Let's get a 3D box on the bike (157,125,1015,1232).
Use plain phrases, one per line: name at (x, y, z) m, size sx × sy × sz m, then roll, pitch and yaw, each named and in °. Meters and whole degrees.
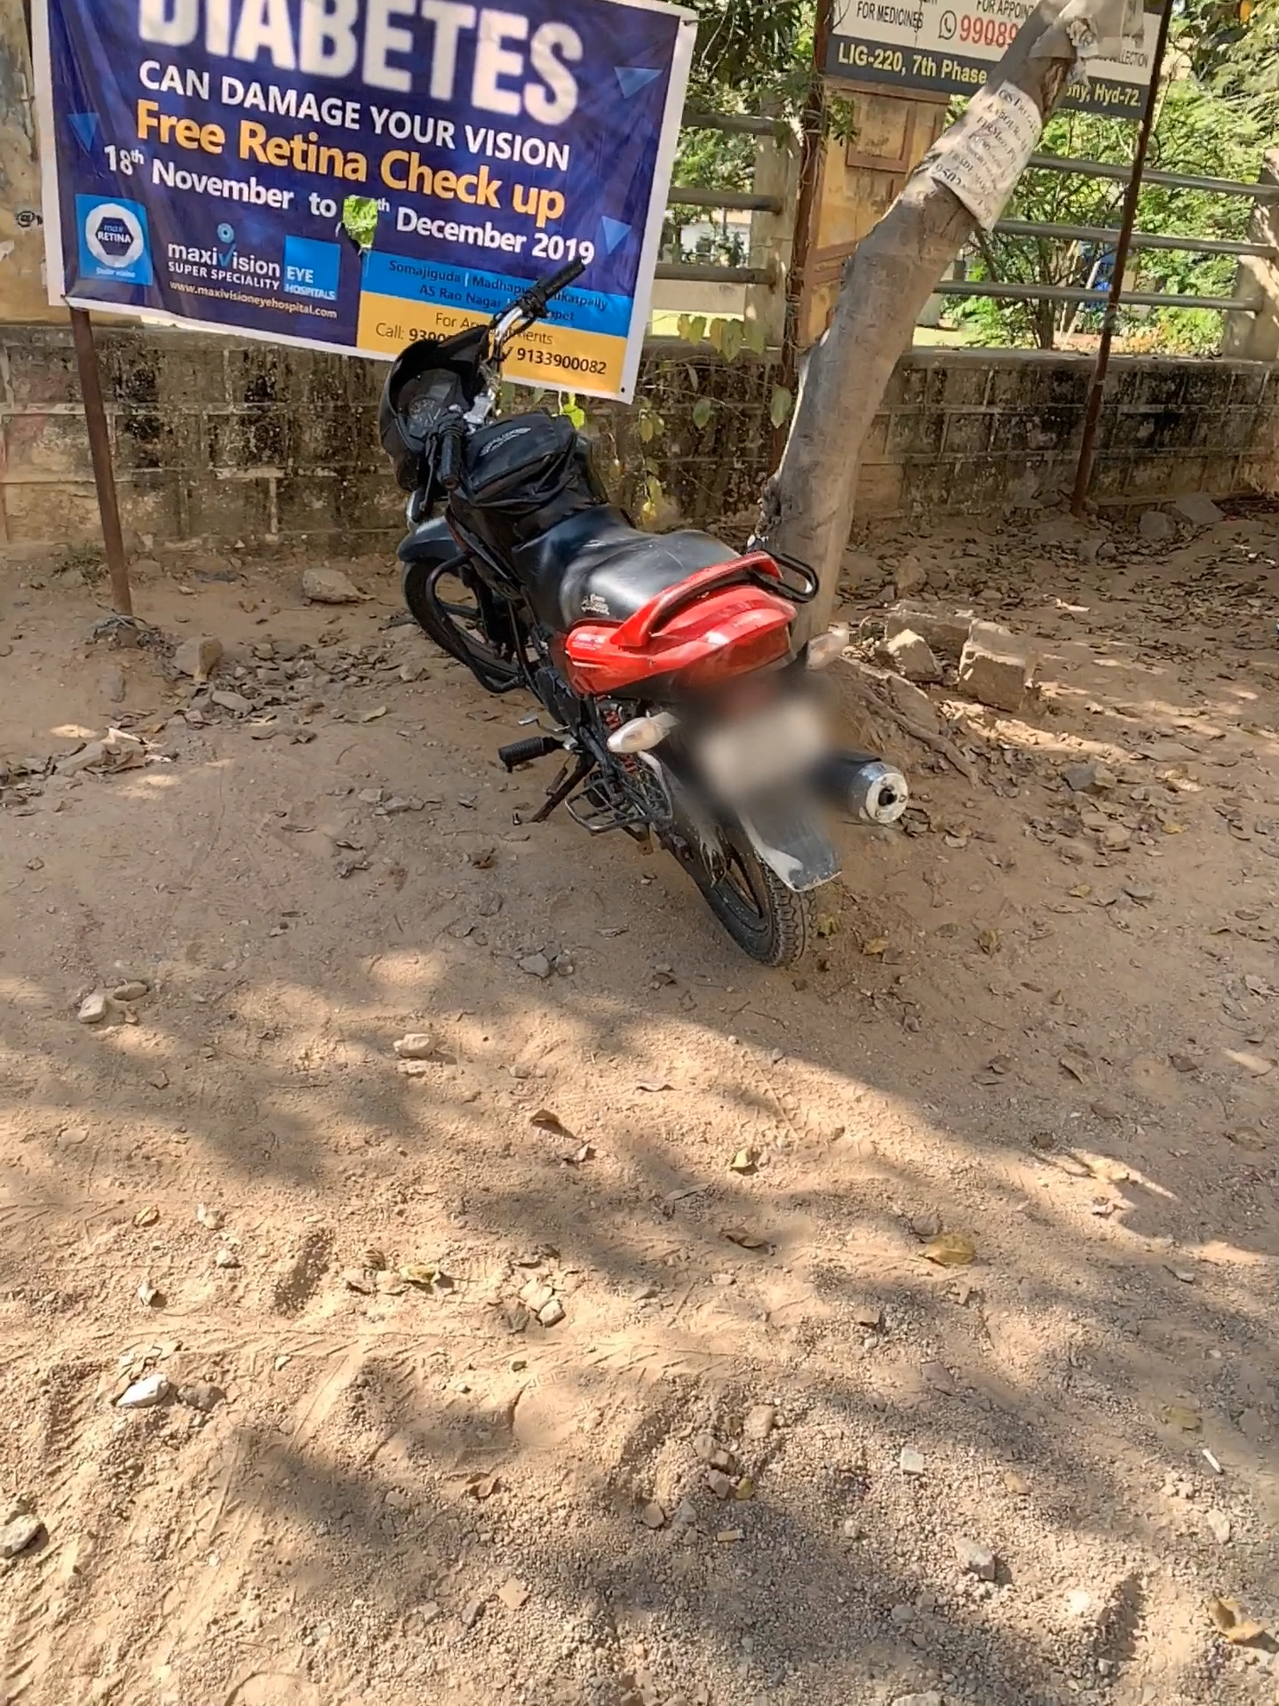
bike at (-0.267, -0.488, 2.579) m, size 0.752 × 1.442 × 1.621 m, roll -12°, pitch 33°, yaw -31°
